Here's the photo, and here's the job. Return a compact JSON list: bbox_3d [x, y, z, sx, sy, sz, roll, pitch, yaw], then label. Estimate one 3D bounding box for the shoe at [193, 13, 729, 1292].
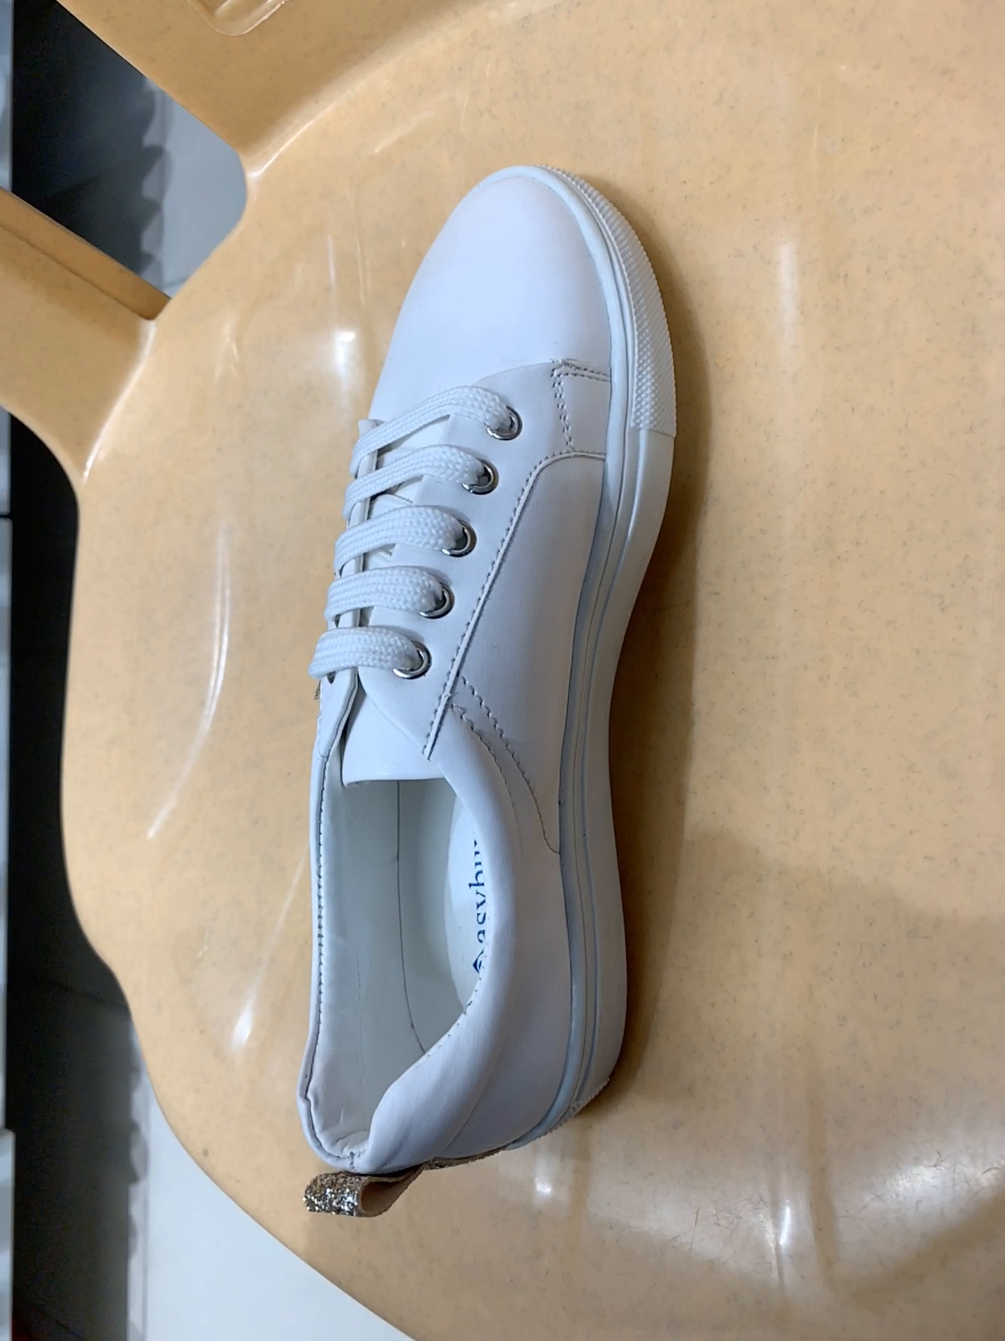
[{"bbox_3d":[-0.009,-0.003,0.258,0.090,0.090,0.240,-3,88,37],"label":"shoe"}]
